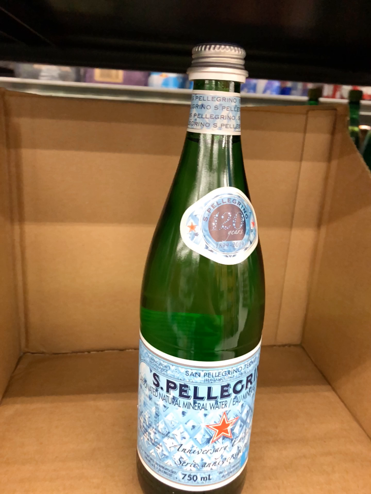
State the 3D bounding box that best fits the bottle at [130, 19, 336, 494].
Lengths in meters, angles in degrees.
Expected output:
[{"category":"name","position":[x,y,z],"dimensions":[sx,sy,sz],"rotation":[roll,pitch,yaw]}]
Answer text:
[{"category":"bottle","position":[0.011,0.033,0.241],"dimensions":[0.080,0.278,0.070],"rotation":[0,18,-9]}]
